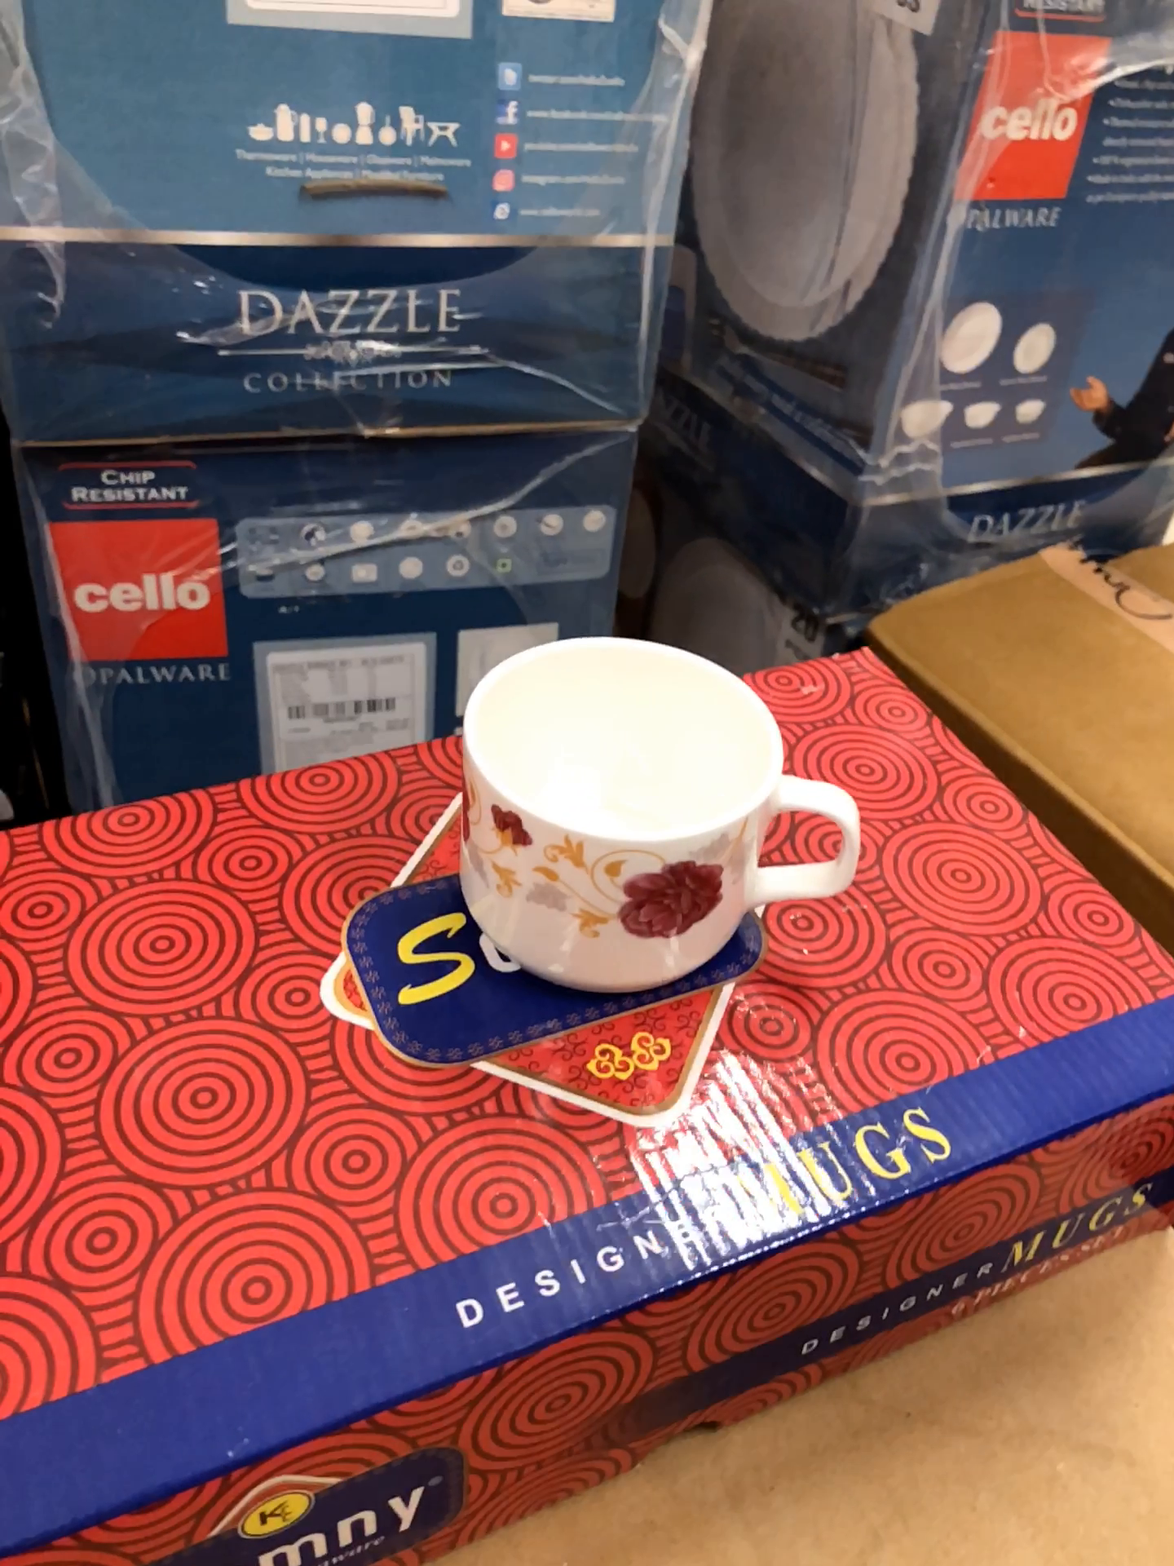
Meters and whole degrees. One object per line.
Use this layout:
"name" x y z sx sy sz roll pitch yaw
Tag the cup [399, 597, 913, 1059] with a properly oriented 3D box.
"cup" 0.017 0.007 0.299 0.100 0.050 0.081 10 38 4
